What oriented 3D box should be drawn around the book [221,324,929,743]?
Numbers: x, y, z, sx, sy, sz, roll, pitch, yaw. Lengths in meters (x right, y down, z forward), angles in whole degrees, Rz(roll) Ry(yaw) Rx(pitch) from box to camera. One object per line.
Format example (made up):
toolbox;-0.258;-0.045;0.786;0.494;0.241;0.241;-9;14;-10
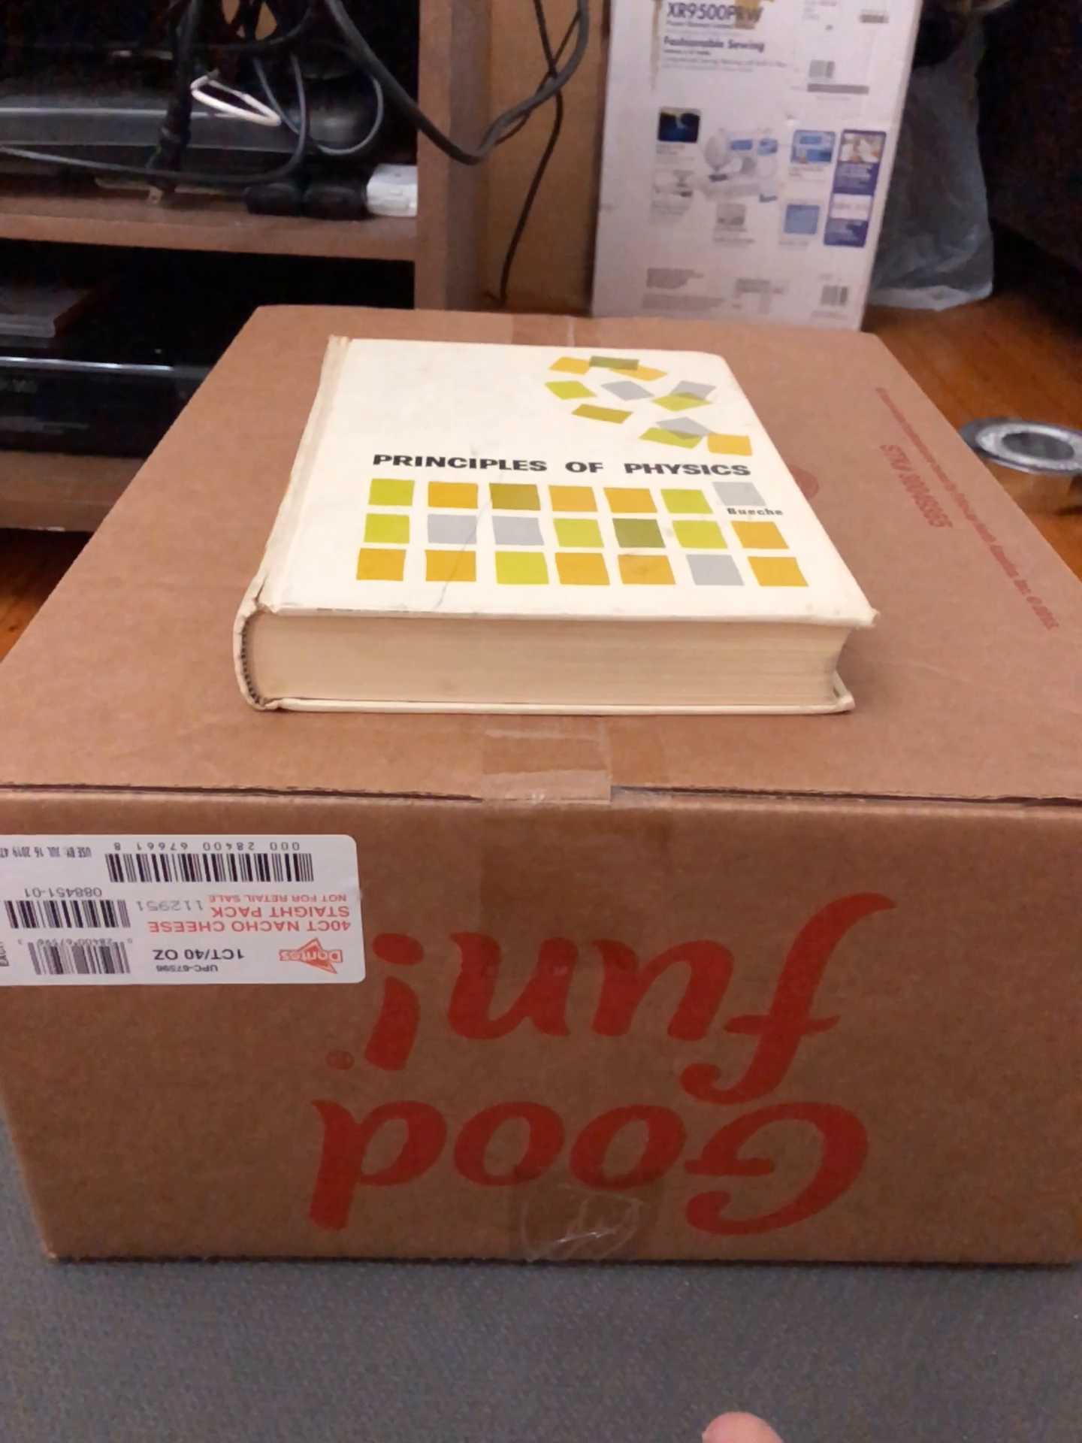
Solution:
book;0.005;-0.081;0.419;0.180;0.040;0.251;1;33;-3
